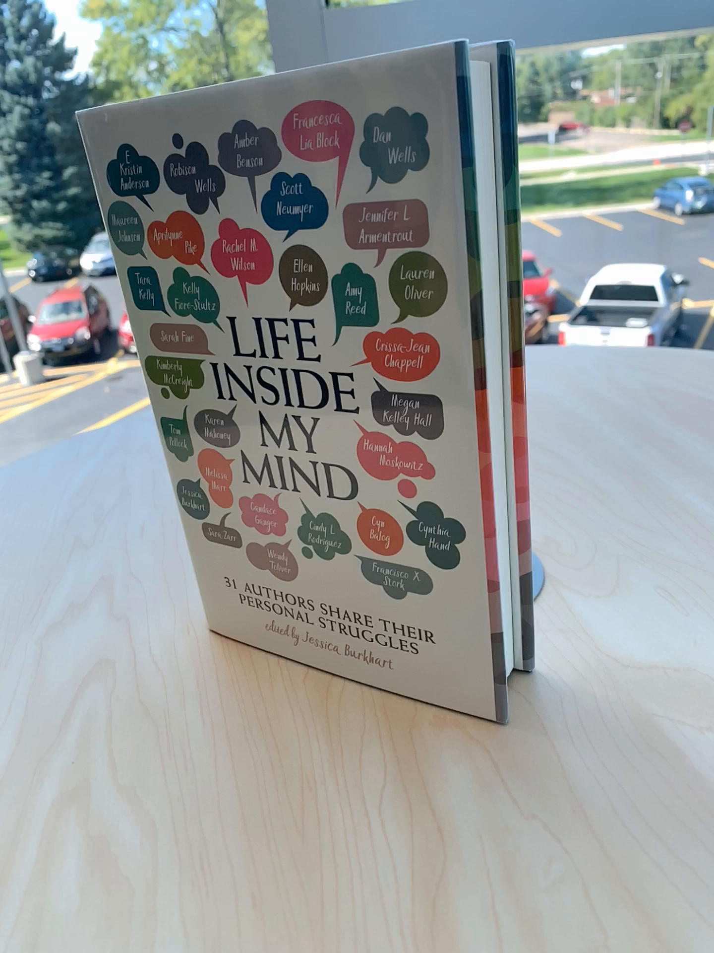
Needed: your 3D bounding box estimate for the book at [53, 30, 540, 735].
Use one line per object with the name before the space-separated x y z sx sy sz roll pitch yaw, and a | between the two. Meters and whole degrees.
book | -0.014 -0.021 0.265 0.150 0.218 0.030 9 31 30
